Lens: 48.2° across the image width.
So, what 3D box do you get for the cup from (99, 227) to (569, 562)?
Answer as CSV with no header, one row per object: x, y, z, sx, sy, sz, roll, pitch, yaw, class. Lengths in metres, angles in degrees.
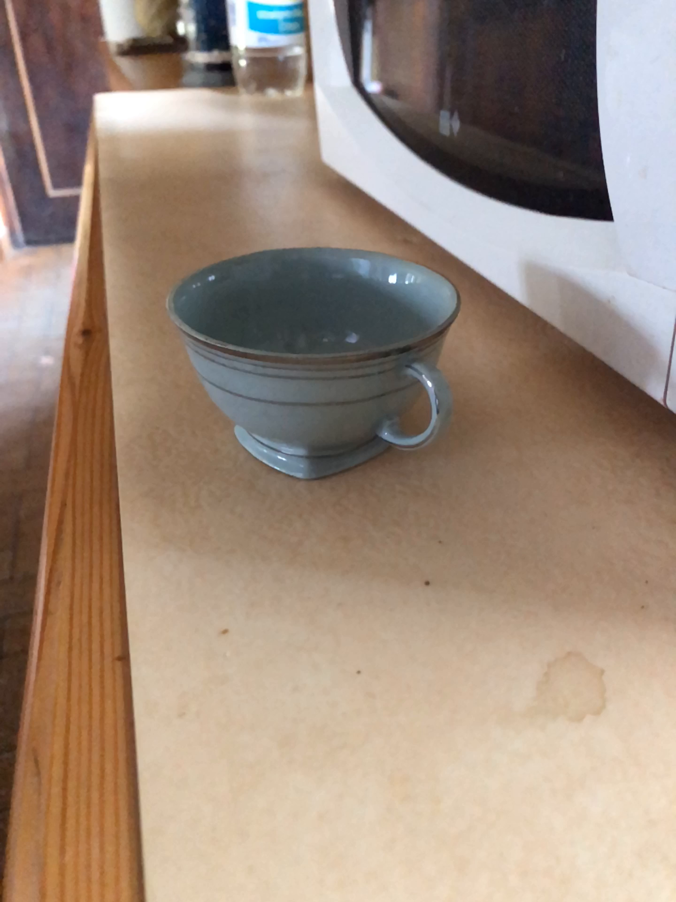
-0.003,-0.026,0.214,0.080,0.040,0.100,-29,41,-36,cup
